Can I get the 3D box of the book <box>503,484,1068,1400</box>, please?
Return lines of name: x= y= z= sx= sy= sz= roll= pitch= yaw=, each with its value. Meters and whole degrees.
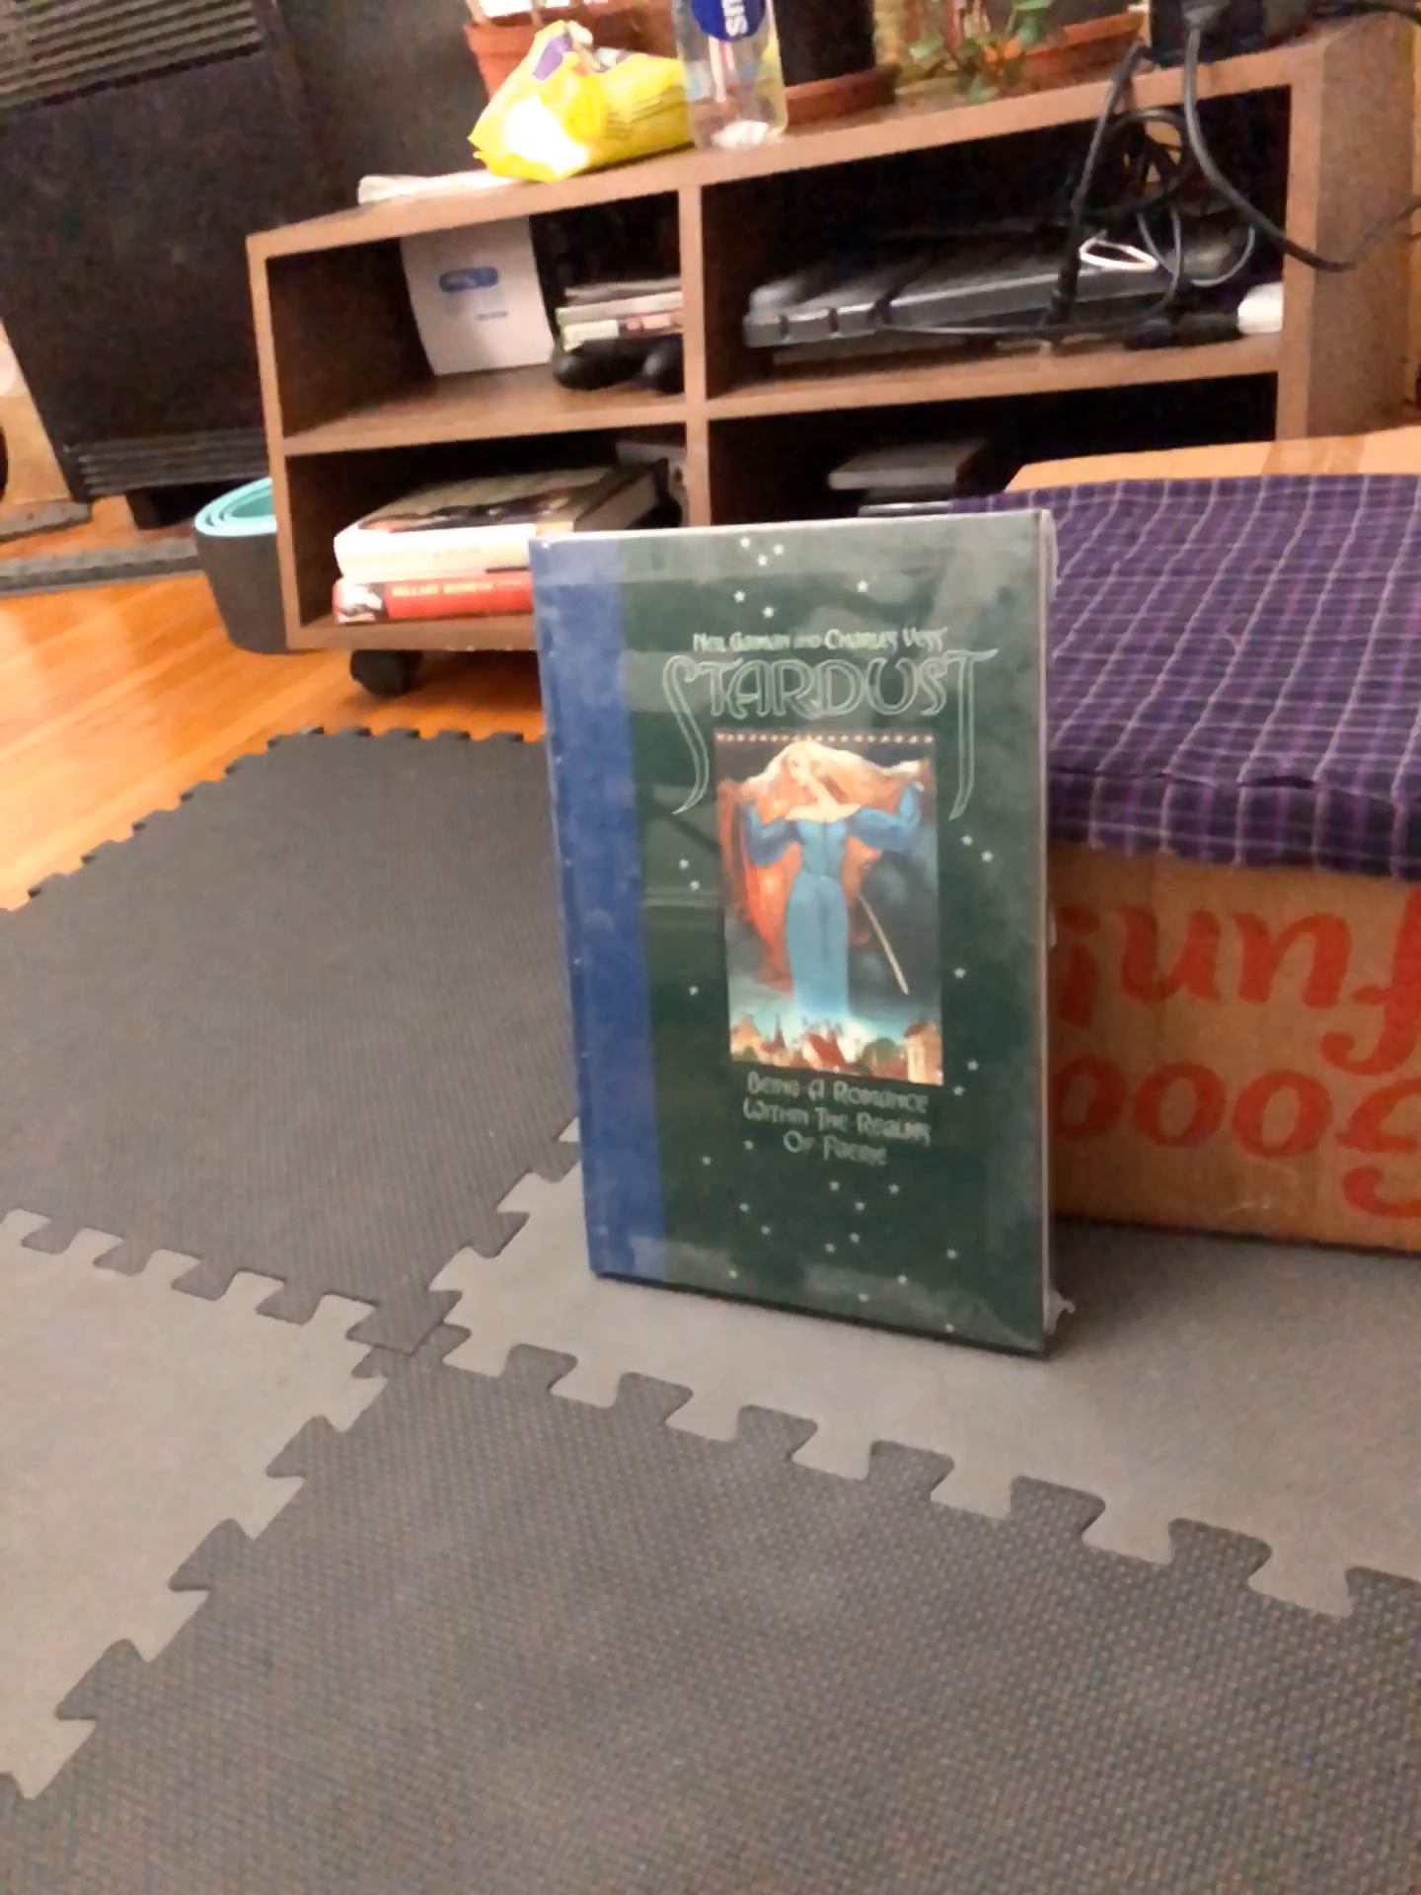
book: x=0.029 y=0.001 z=0.602 sx=0.210 sy=0.329 sz=0.020 roll=3 pitch=15 yaw=28
